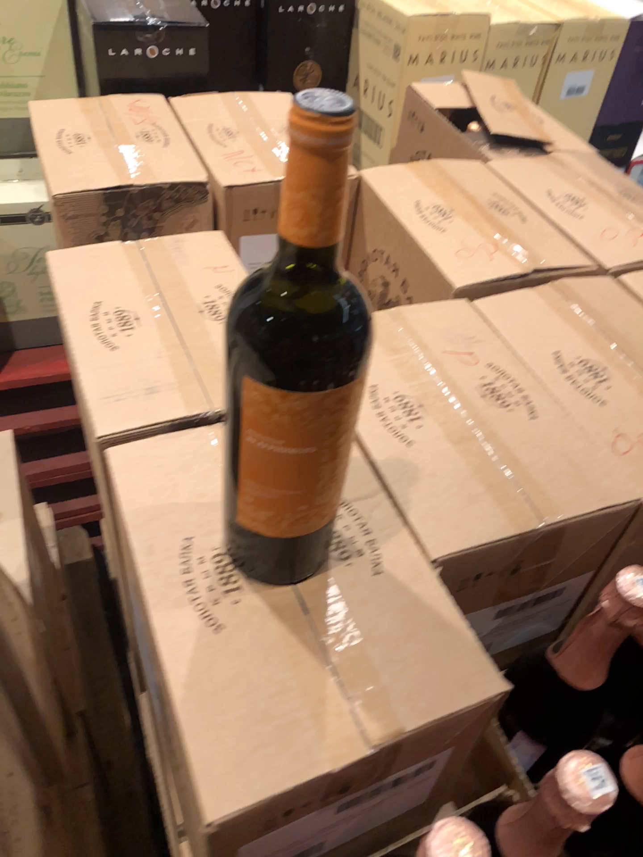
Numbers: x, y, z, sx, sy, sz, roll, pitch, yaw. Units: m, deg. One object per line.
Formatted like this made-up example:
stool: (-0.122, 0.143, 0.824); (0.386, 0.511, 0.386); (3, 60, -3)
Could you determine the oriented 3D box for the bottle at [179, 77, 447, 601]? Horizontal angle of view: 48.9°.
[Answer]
bottle: (-0.018, -0.028, 0.386); (0.090, 0.278, 0.091); (3, 44, -3)
